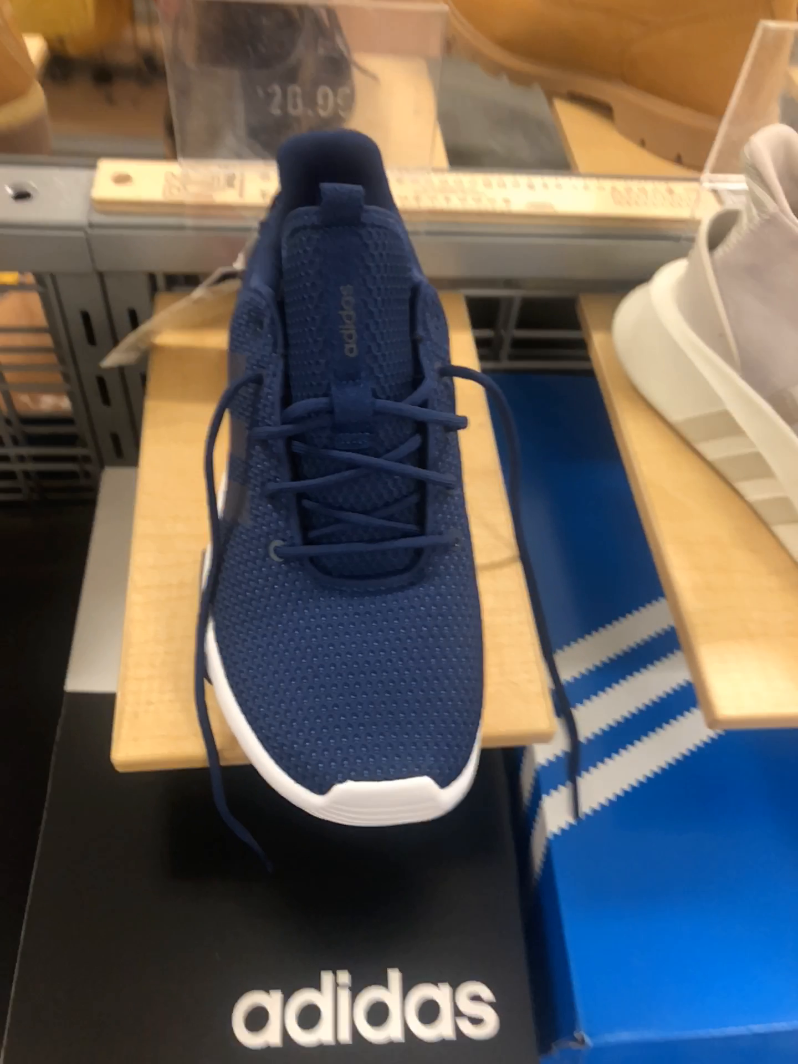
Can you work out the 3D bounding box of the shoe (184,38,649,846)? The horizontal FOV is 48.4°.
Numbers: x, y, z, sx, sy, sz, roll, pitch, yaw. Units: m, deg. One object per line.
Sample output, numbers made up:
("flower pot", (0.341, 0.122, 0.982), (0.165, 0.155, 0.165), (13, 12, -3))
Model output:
("shoe", (-0.013, -0.053, 0.361), (0.112, 0.145, 0.306), (-1, 52, -7))
